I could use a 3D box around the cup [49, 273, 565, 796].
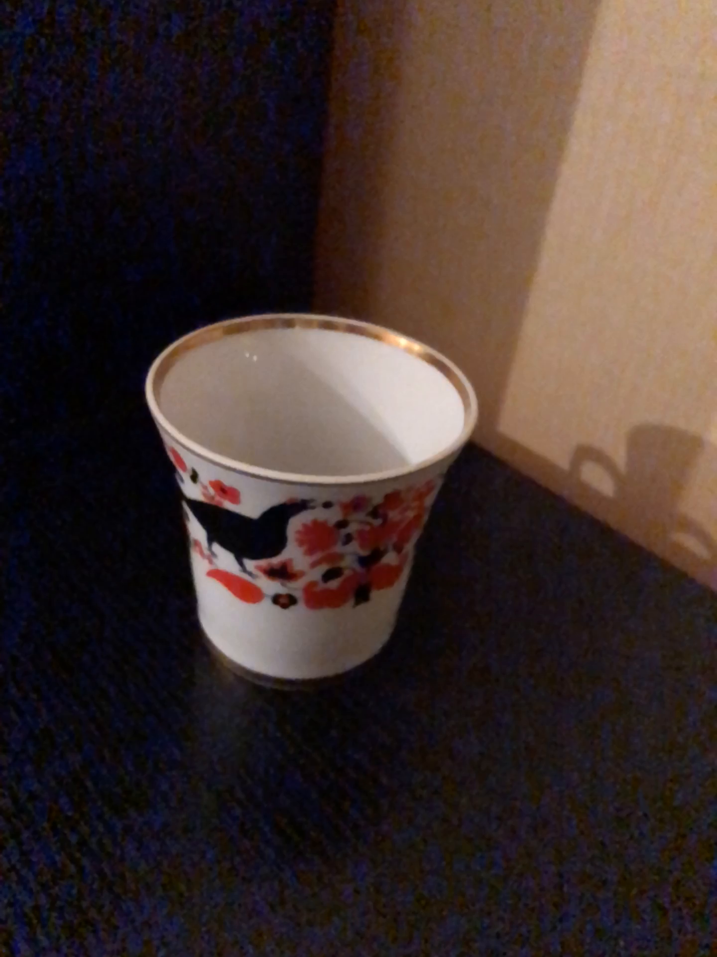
[{"bbox_3d":[-0.023,0.006,0.269,0.102,0.092,0.125,-21,45,-34],"label":"cup"}]
